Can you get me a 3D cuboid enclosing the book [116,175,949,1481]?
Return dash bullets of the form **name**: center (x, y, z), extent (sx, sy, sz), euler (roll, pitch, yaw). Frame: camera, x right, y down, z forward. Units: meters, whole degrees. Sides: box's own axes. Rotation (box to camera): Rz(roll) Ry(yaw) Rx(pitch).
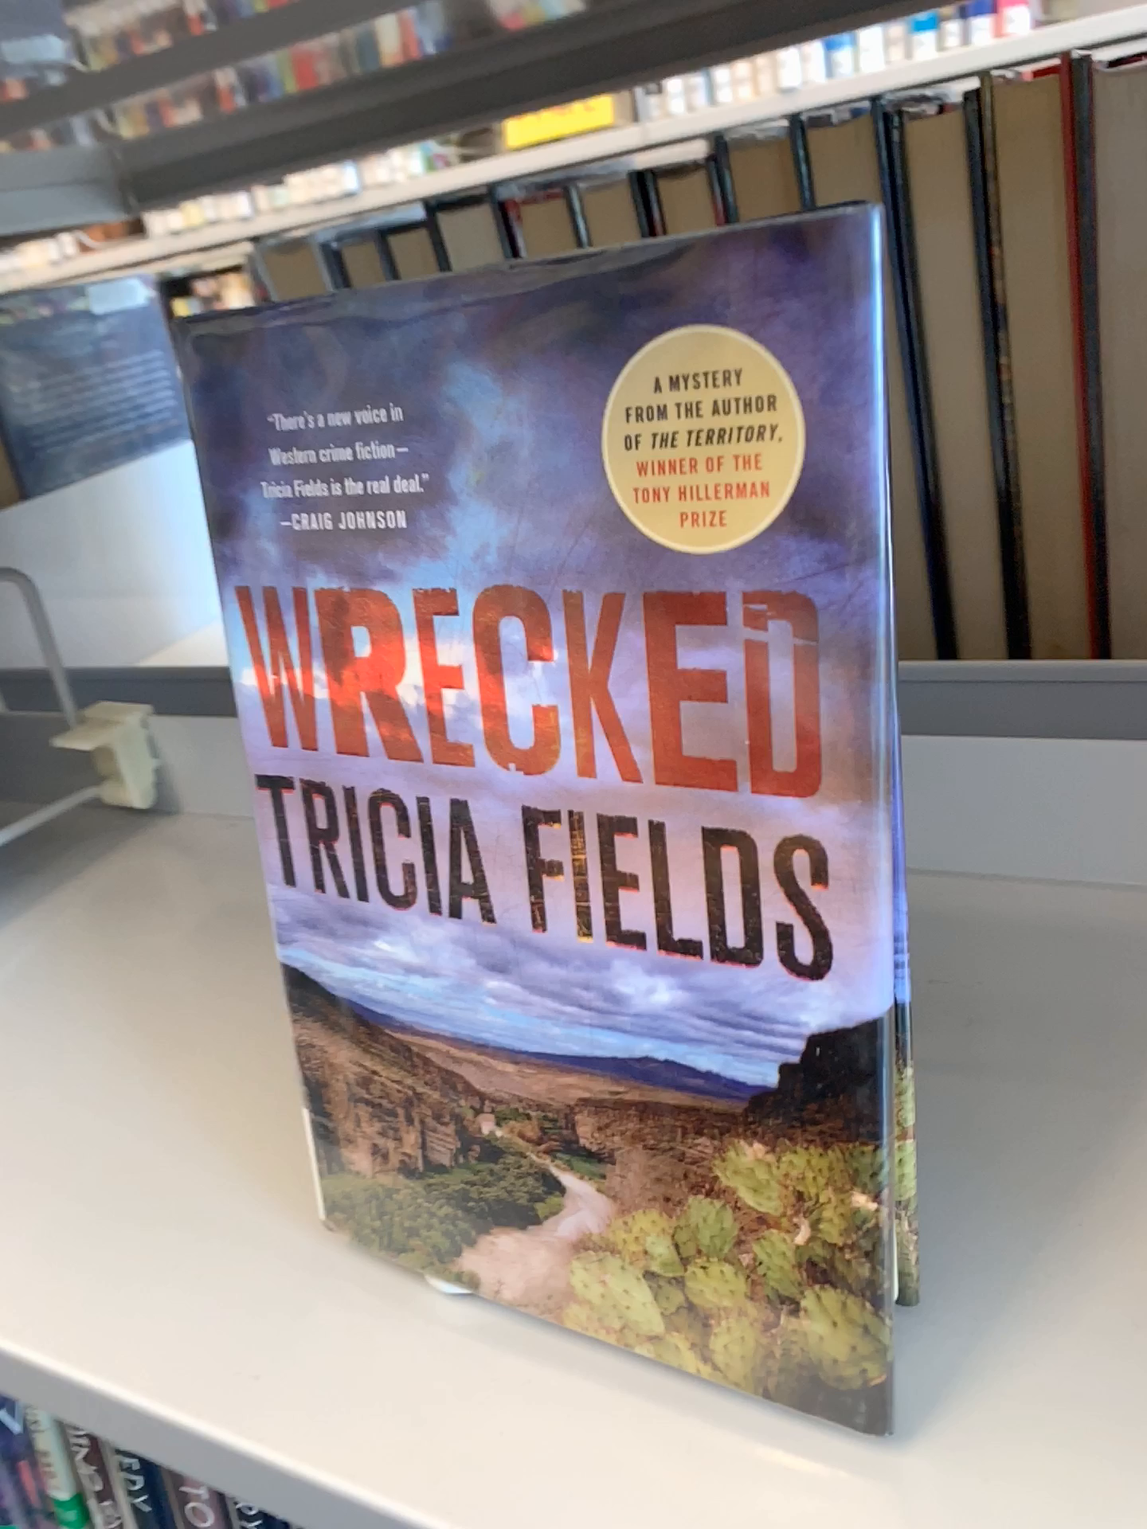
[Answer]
- **book**: center (-0.007, 0.015, 0.237), extent (0.150, 0.213, 0.034), euler (4, 19, 32)
